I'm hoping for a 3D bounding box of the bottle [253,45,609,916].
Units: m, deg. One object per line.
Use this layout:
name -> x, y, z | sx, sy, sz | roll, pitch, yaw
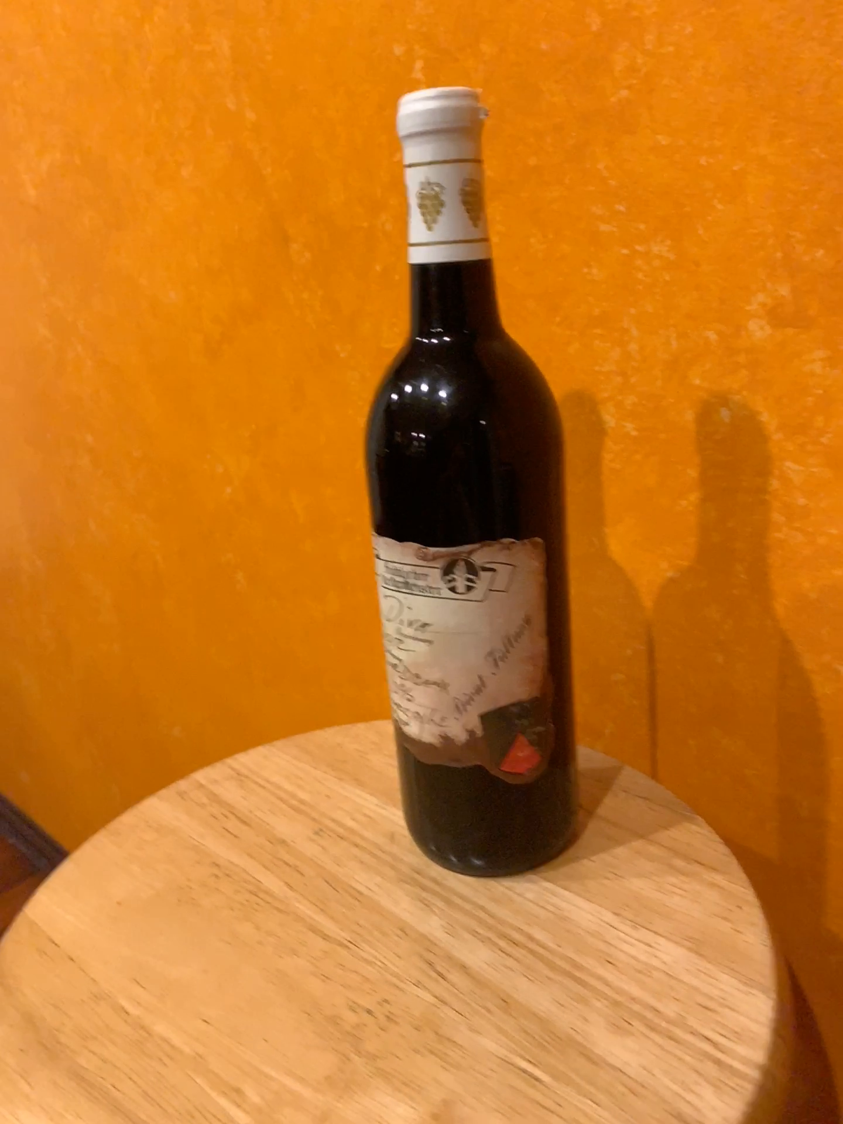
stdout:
bottle -> 0.012, -0.020, 0.330 | 0.070, 0.289, 0.080 | -23, 26, -39
